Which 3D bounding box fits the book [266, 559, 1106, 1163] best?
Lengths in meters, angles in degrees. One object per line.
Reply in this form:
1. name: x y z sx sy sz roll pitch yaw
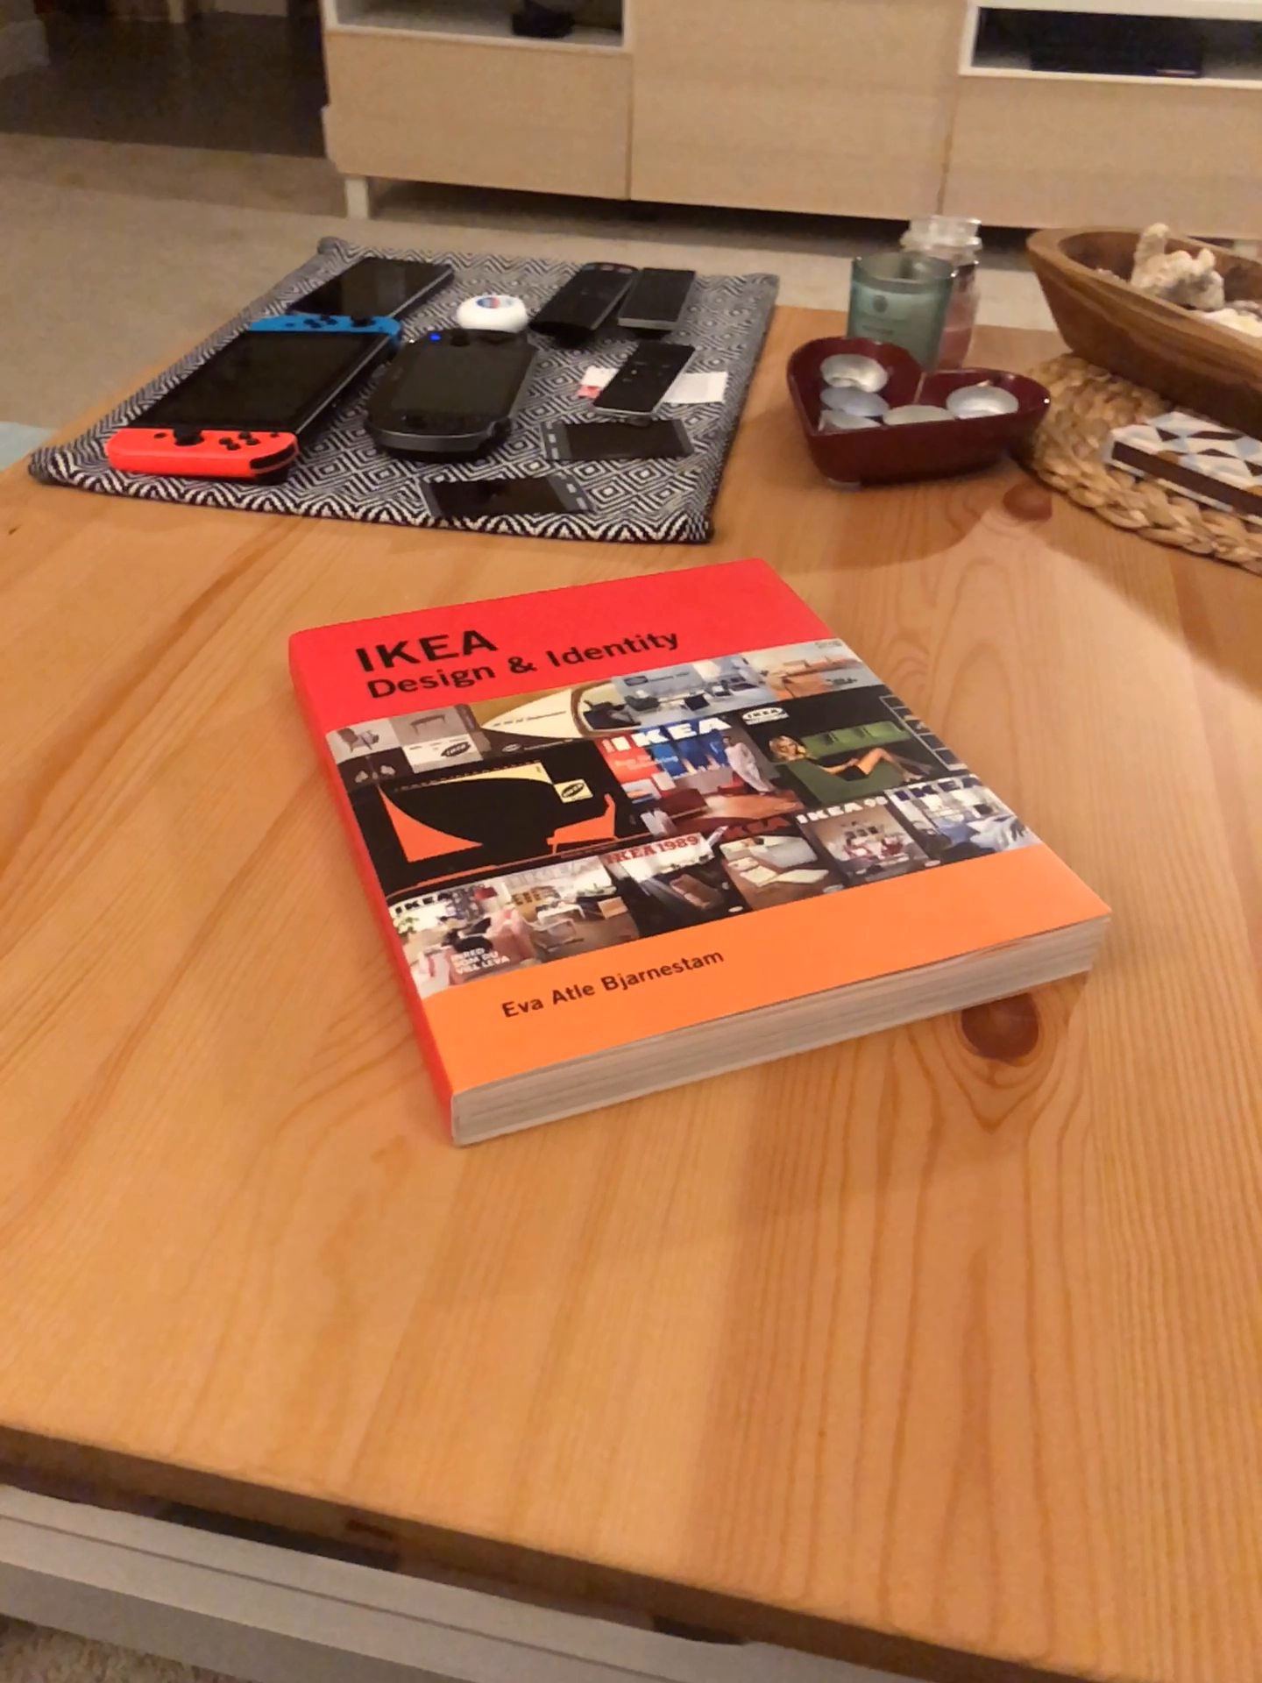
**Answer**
1. book: 0.000 -0.019 0.500 0.216 0.030 0.255 -12 40 -17
